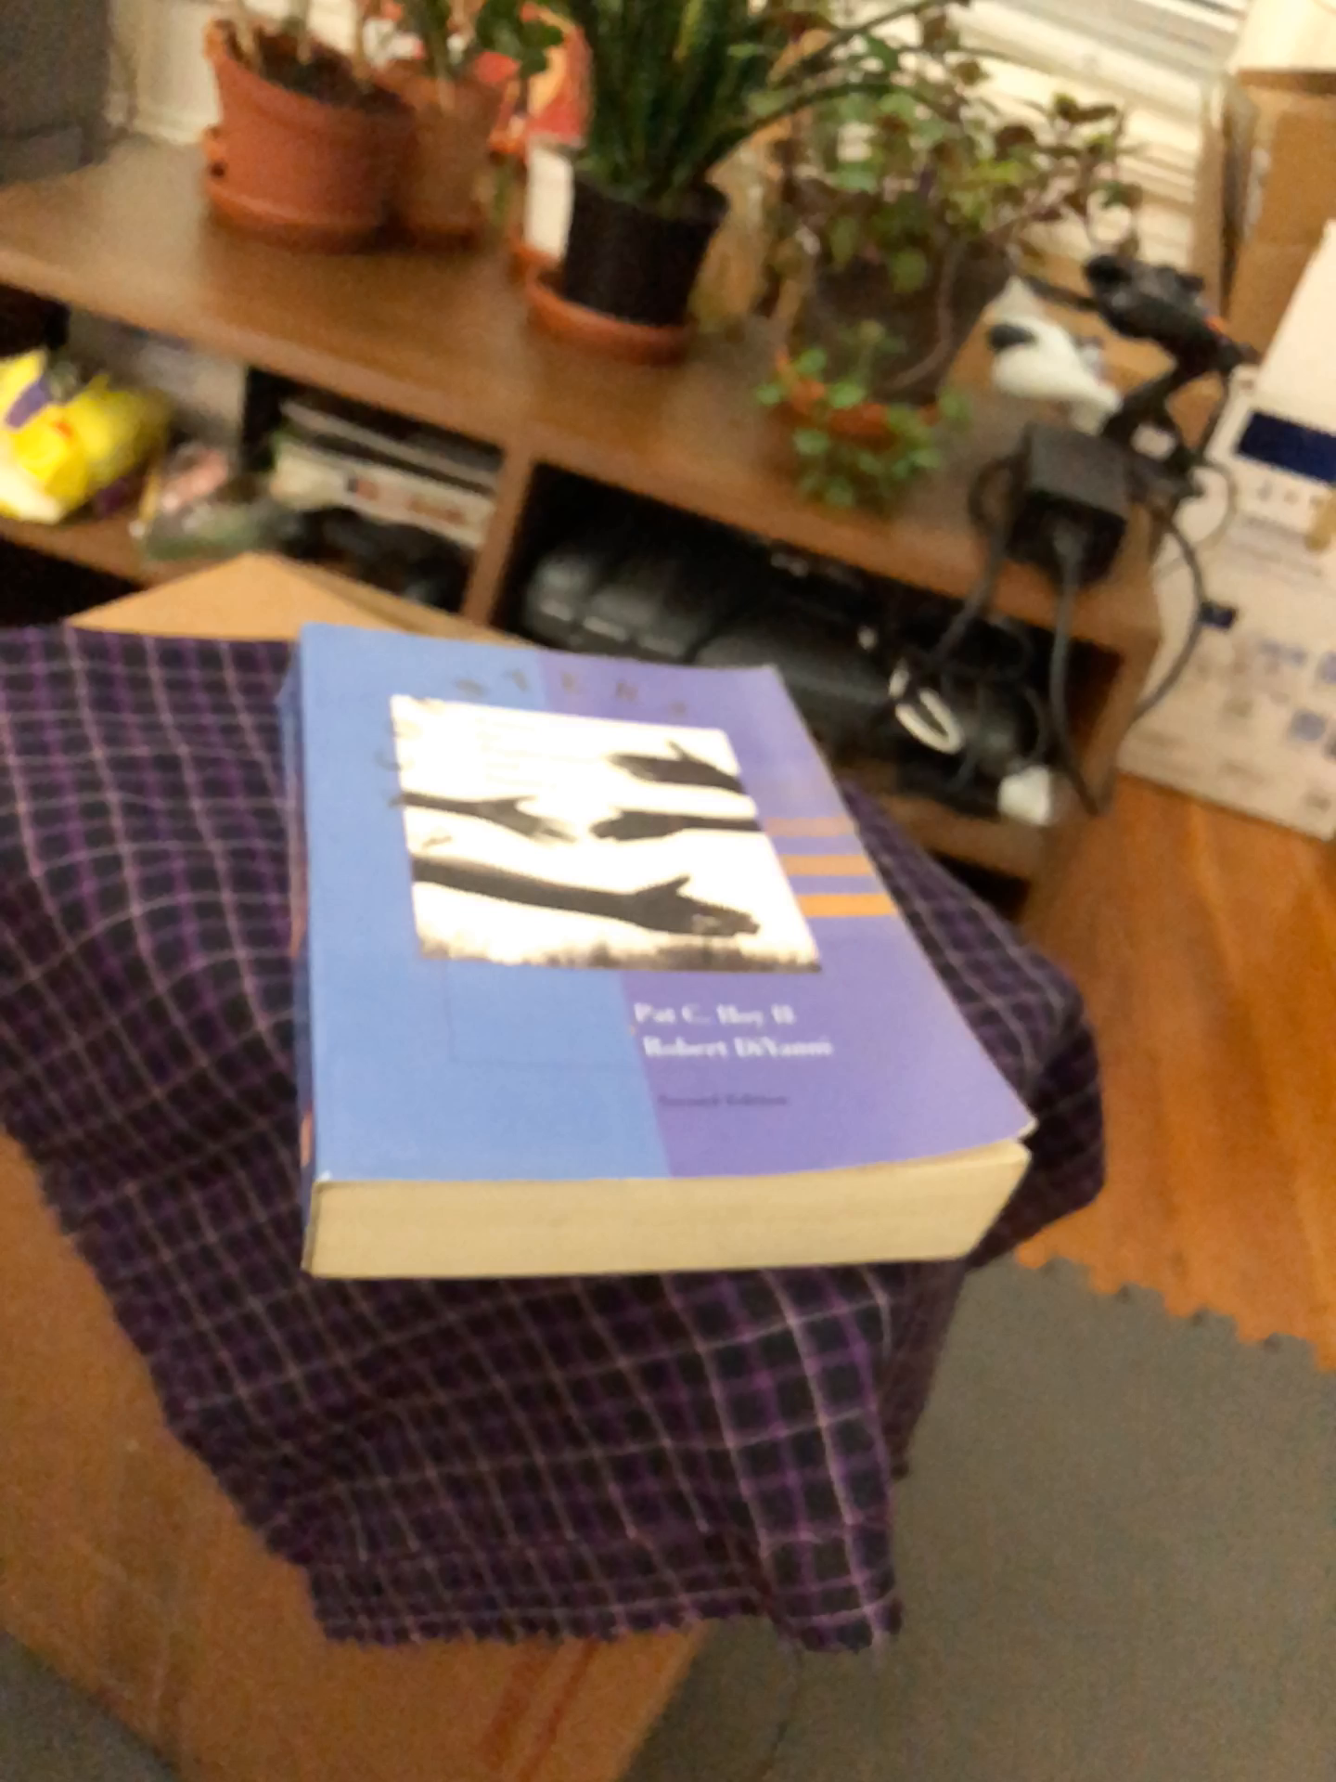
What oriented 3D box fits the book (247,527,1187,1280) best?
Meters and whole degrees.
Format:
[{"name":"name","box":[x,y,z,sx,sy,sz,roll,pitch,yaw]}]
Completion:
[{"name":"book","box":[-0.011,-0.012,0.416,0.200,0.040,0.261,4,36,-19]}]
